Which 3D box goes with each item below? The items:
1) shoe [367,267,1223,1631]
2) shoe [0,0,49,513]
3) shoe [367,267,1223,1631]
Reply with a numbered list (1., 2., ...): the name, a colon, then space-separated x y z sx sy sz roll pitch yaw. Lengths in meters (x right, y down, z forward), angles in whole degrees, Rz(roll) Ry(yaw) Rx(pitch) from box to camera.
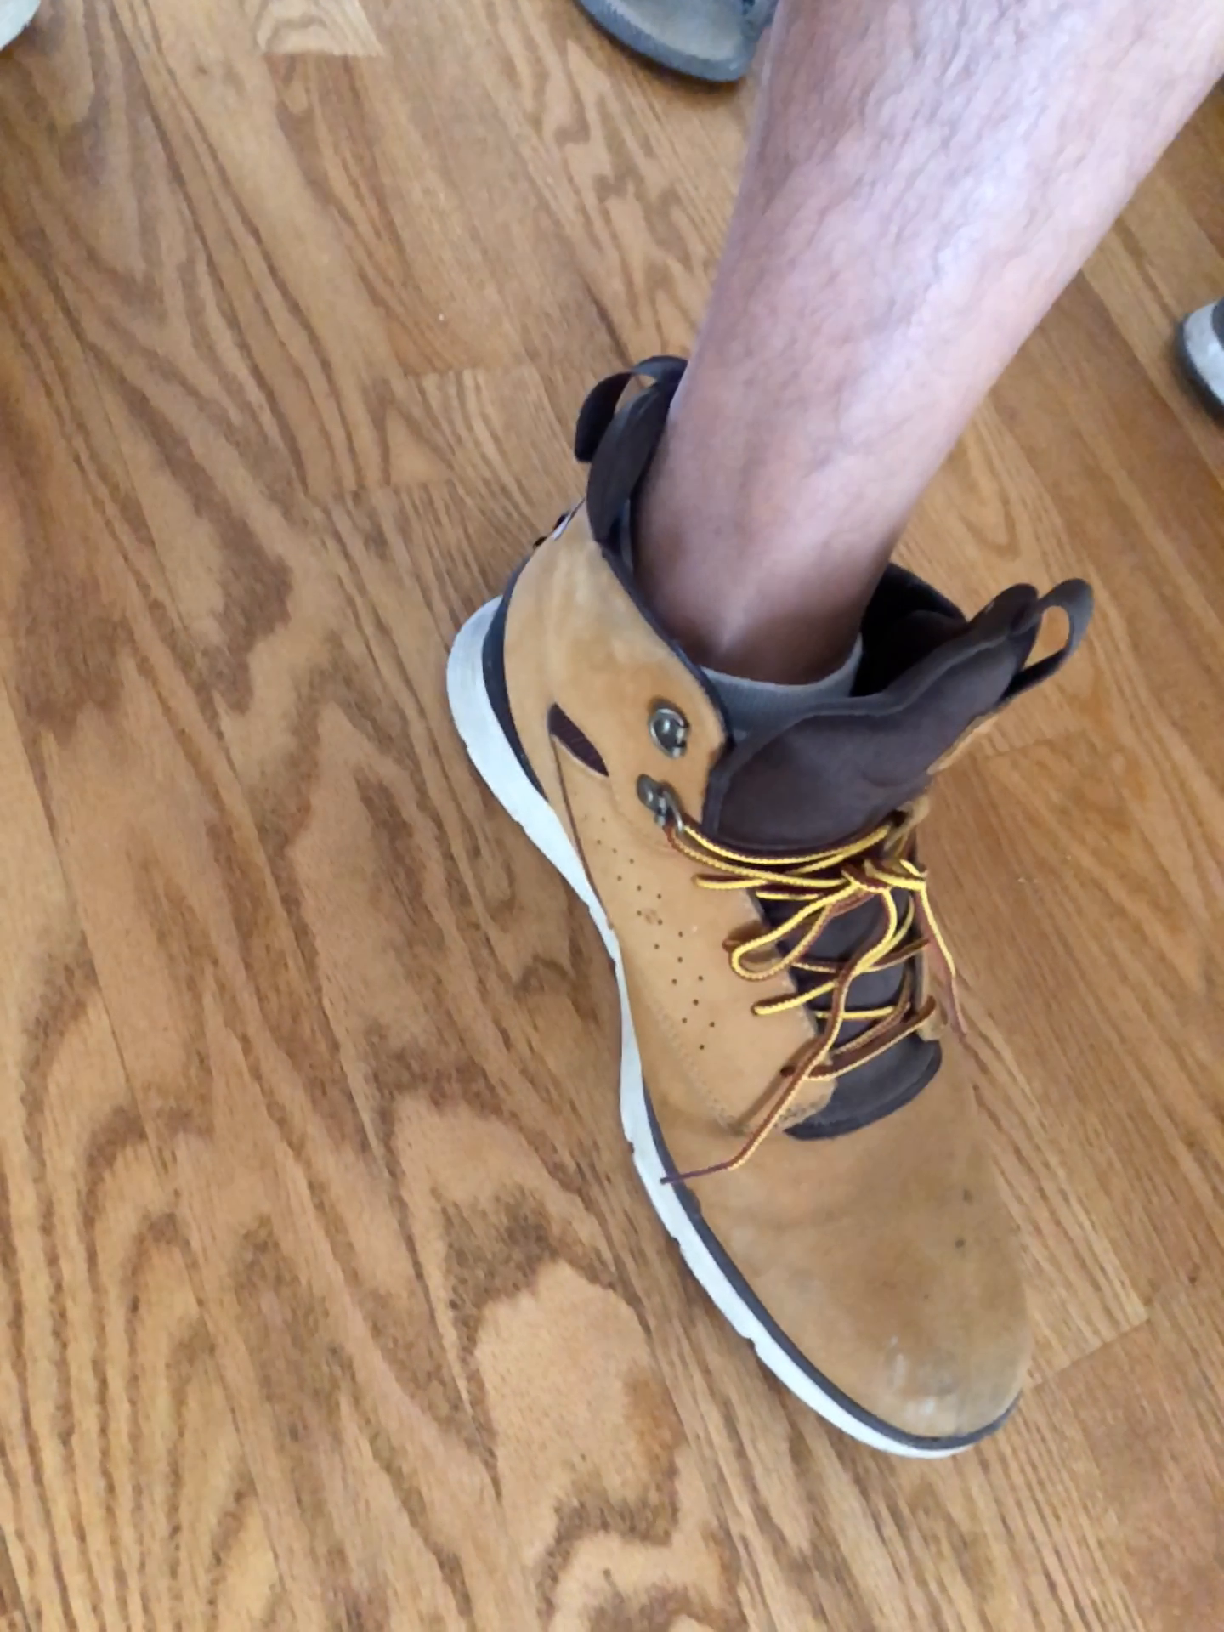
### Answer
1. shoe: 0.063 0.024 0.371 0.130 0.139 0.310 -17 72 -29
2. shoe: -0.290 -0.285 0.403 0.130 0.159 0.331 16 59 -14
3. shoe: 0.063 0.024 0.371 0.130 0.139 0.310 -17 72 -29
